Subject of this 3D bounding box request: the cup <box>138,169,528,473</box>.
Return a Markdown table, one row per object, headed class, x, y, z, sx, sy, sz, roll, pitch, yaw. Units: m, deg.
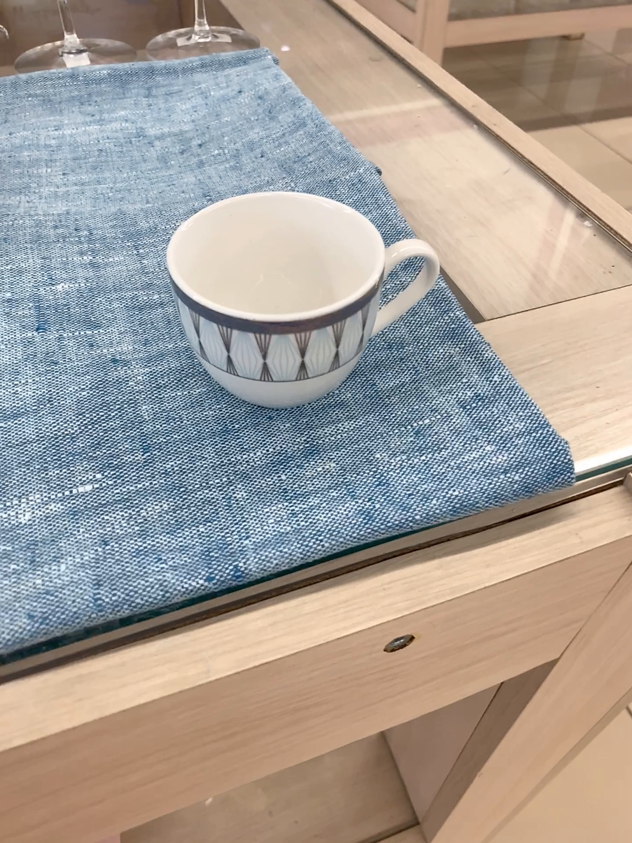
| class | x | y | z | sx | sy | sz | roll | pitch | yaw |
| --- | --- | --- | --- | --- | --- | --- | --- | --- | --- |
| cup | 0.001 | -0.035 | 0.199 | 0.090 | 0.040 | 0.070 | -15 | 49 | -15 |
